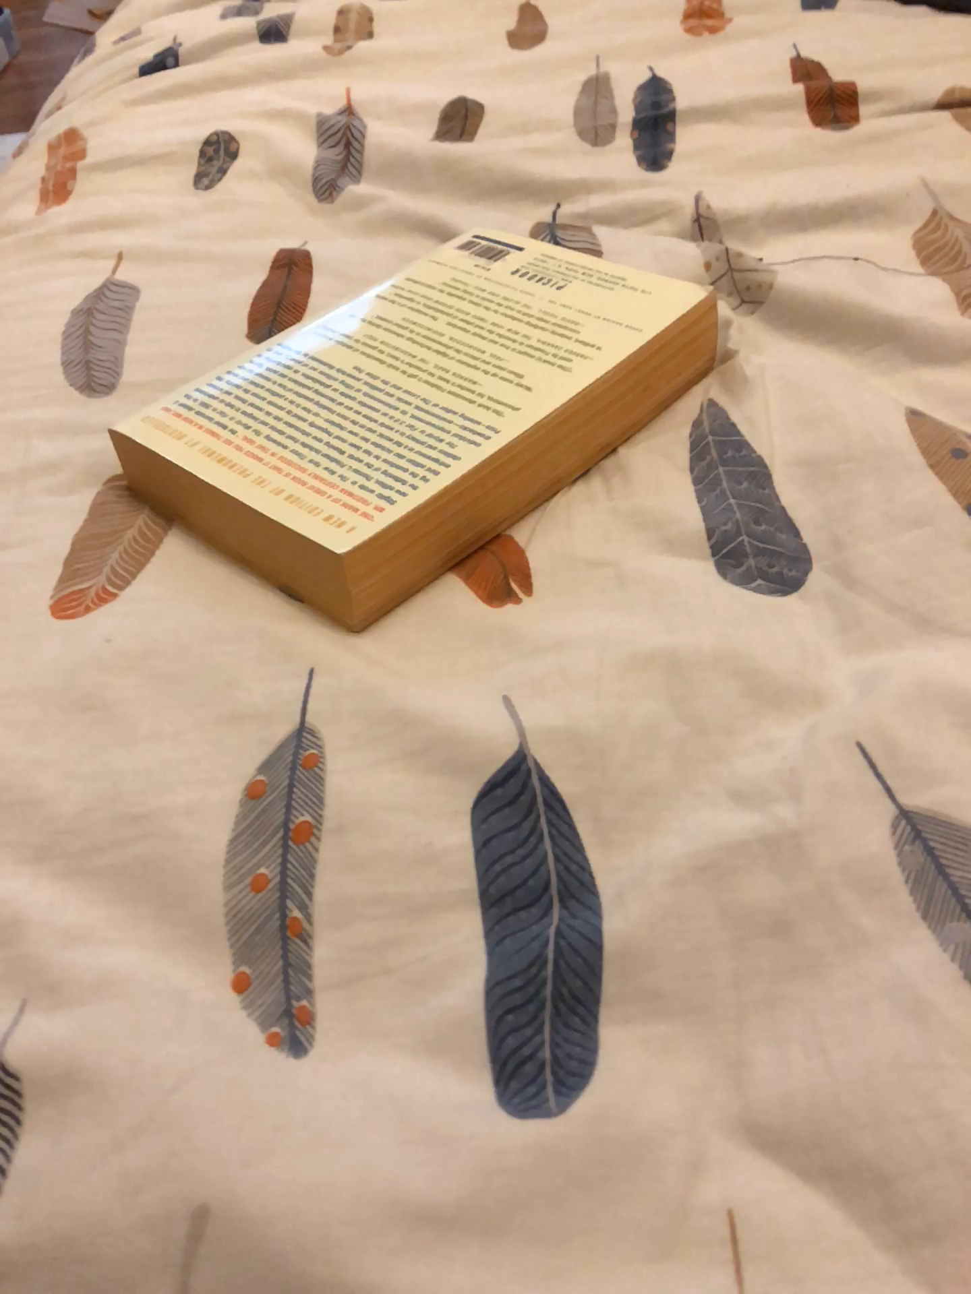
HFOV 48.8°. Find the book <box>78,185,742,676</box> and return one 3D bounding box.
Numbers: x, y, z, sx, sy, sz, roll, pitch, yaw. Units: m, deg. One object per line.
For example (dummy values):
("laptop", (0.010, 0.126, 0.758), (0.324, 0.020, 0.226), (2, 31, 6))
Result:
("book", (-0.023, -0.104, 0.431), (0.150, 0.040, 0.221), (30, 58, 28))
